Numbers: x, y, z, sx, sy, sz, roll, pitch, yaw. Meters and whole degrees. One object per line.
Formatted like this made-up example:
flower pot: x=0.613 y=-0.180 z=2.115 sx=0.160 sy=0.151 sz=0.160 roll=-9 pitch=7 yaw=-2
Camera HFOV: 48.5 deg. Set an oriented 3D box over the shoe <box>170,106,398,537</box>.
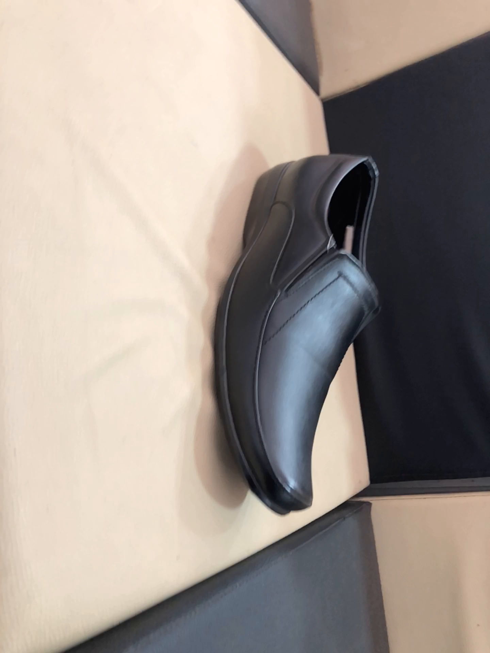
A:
shoe: x=0.045 y=-0.012 z=0.395 sx=0.101 sy=0.099 sz=0.290 roll=48 pitch=41 yaw=-45
